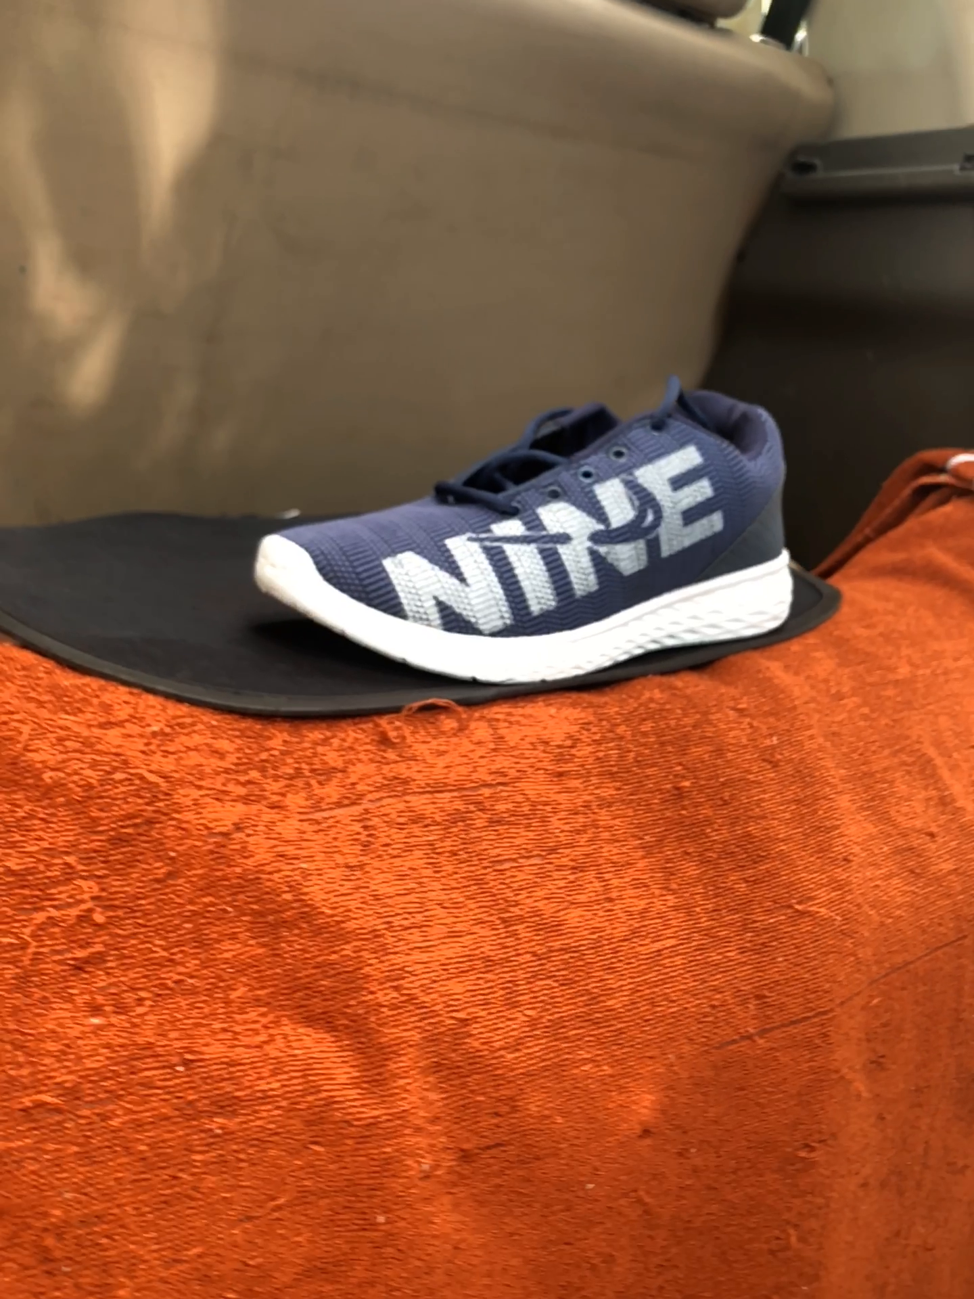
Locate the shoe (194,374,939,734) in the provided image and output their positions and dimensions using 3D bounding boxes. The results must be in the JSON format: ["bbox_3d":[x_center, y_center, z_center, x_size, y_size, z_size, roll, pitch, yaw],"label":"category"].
[{"bbox_3d":[0.039,-0.060,0.467,0.291,0.100,0.130,-9,23,-33],"label":"shoe"}]
